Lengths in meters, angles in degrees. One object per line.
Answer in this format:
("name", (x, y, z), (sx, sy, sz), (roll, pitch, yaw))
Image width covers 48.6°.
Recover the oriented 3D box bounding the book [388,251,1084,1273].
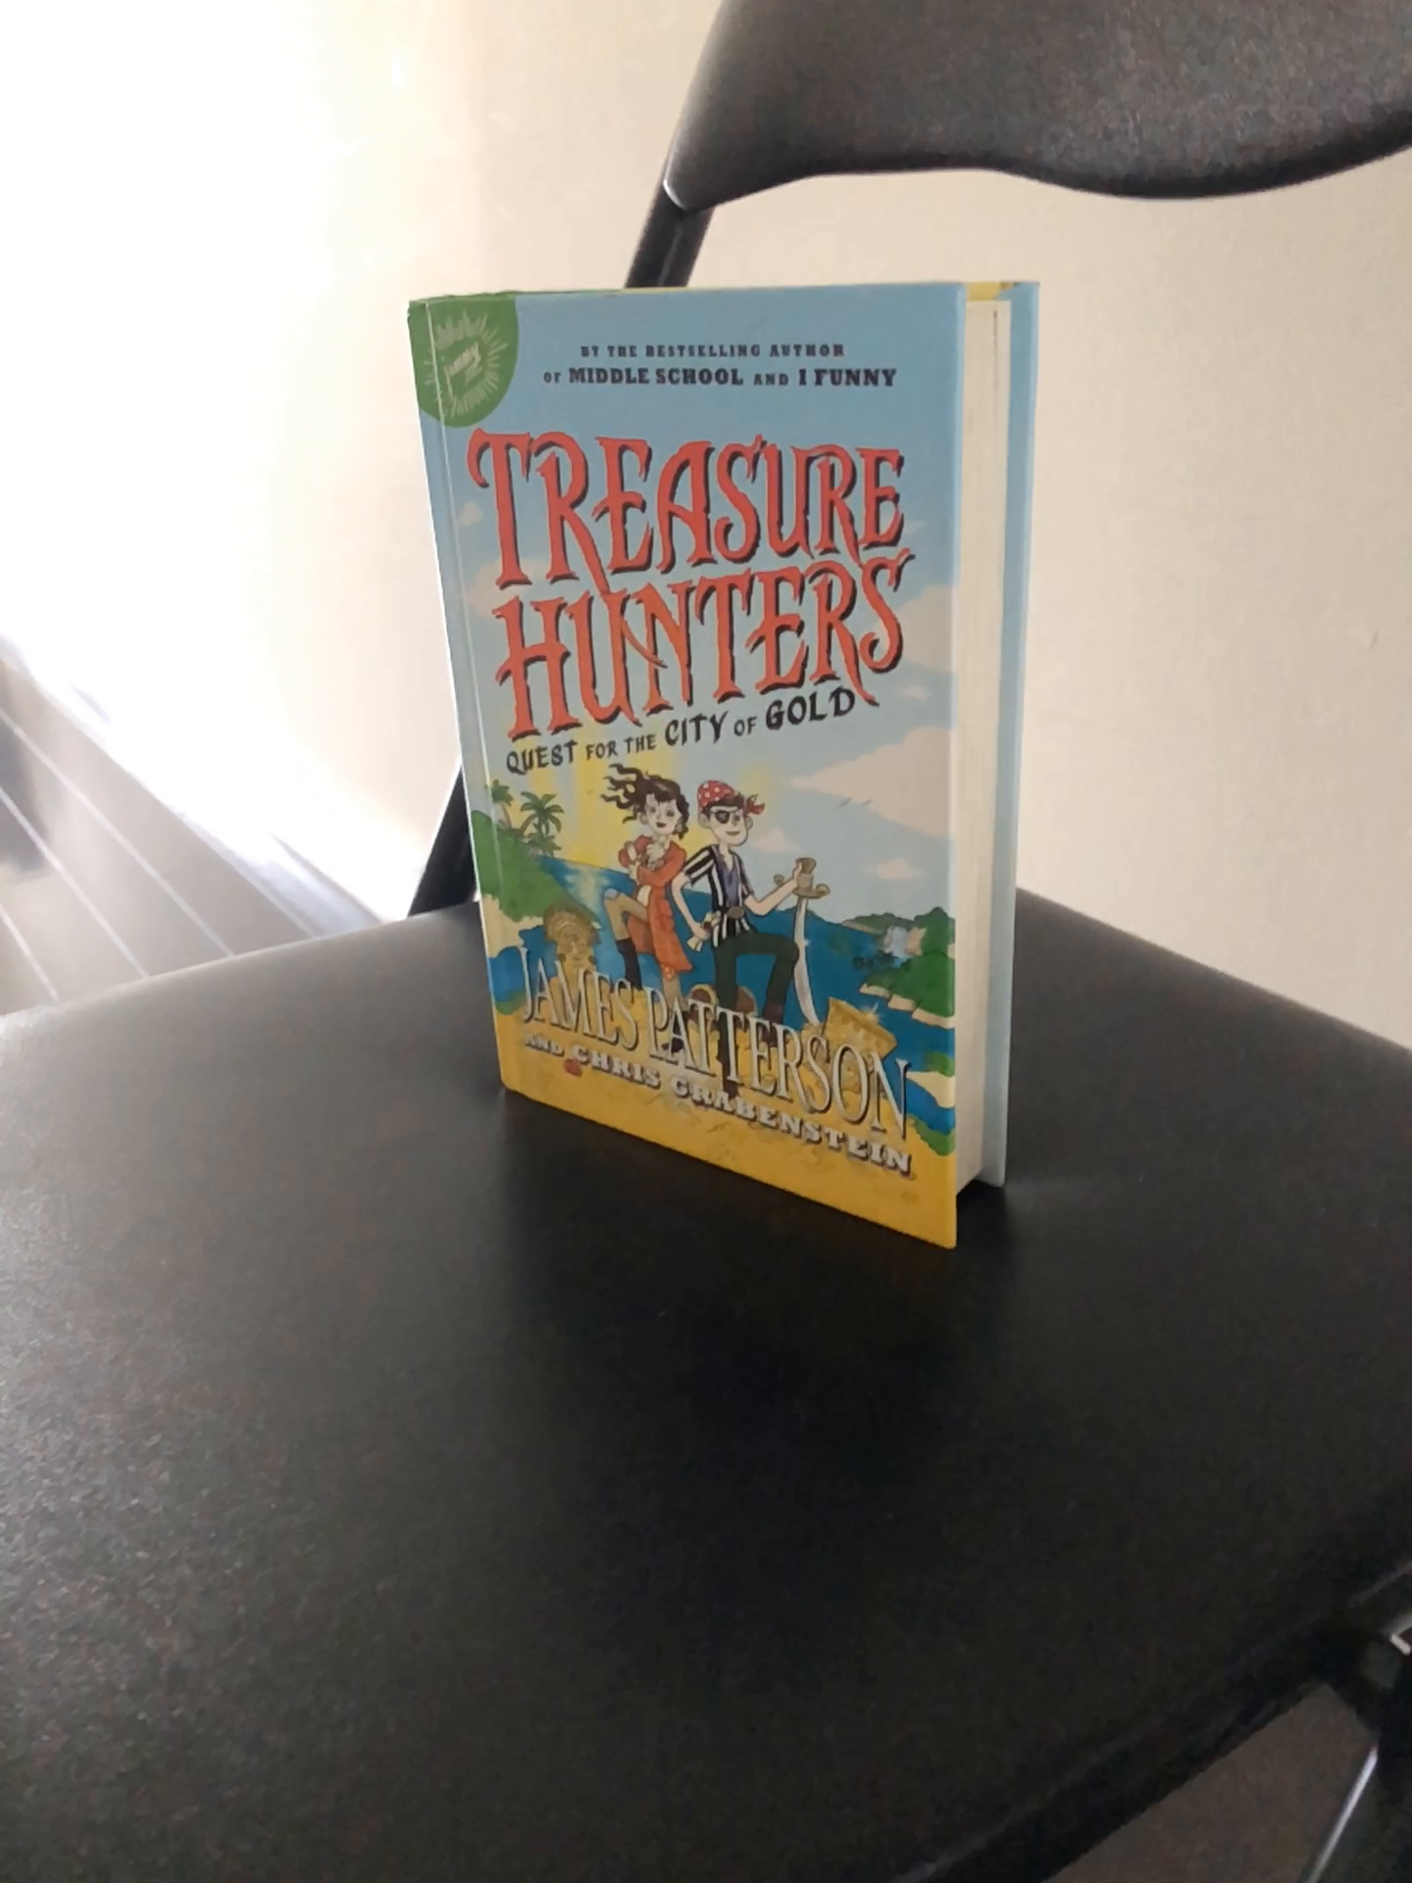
("book", (0.010, -0.043, 0.377), (0.155, 0.215, 0.040), (14, 32, 36))
